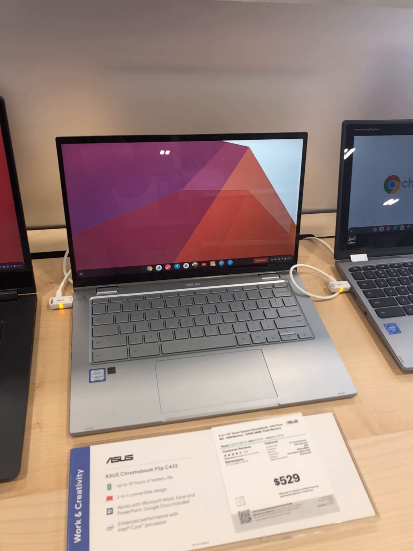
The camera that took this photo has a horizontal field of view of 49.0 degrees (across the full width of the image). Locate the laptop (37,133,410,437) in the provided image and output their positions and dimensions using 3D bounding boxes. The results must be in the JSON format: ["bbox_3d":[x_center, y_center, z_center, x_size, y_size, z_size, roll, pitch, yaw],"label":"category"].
[{"bbox_3d":[-0.004,-0.015,0.525,0.310,0.174,0.283,-5,42,-11],"label":"laptop"}]
